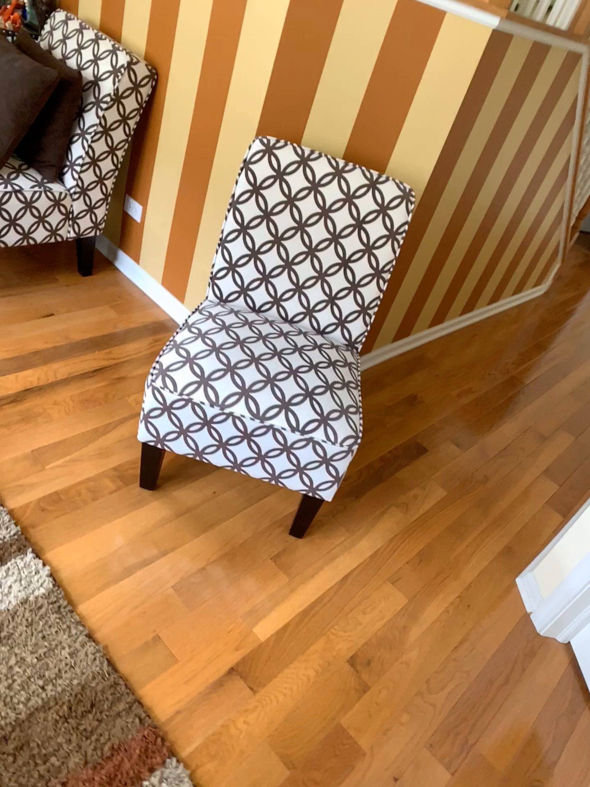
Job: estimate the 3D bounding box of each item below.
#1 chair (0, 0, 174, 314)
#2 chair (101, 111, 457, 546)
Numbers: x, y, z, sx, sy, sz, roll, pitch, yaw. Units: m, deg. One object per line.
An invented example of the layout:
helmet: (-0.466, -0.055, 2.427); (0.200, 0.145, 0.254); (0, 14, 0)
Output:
chair: (-0.996, -0.857, 2.096); (0.593, 0.833, 0.800); (40, 39, 25)
chair: (-0.040, -0.206, 1.642); (0.621, 0.774, 0.742); (18, 34, -2)
